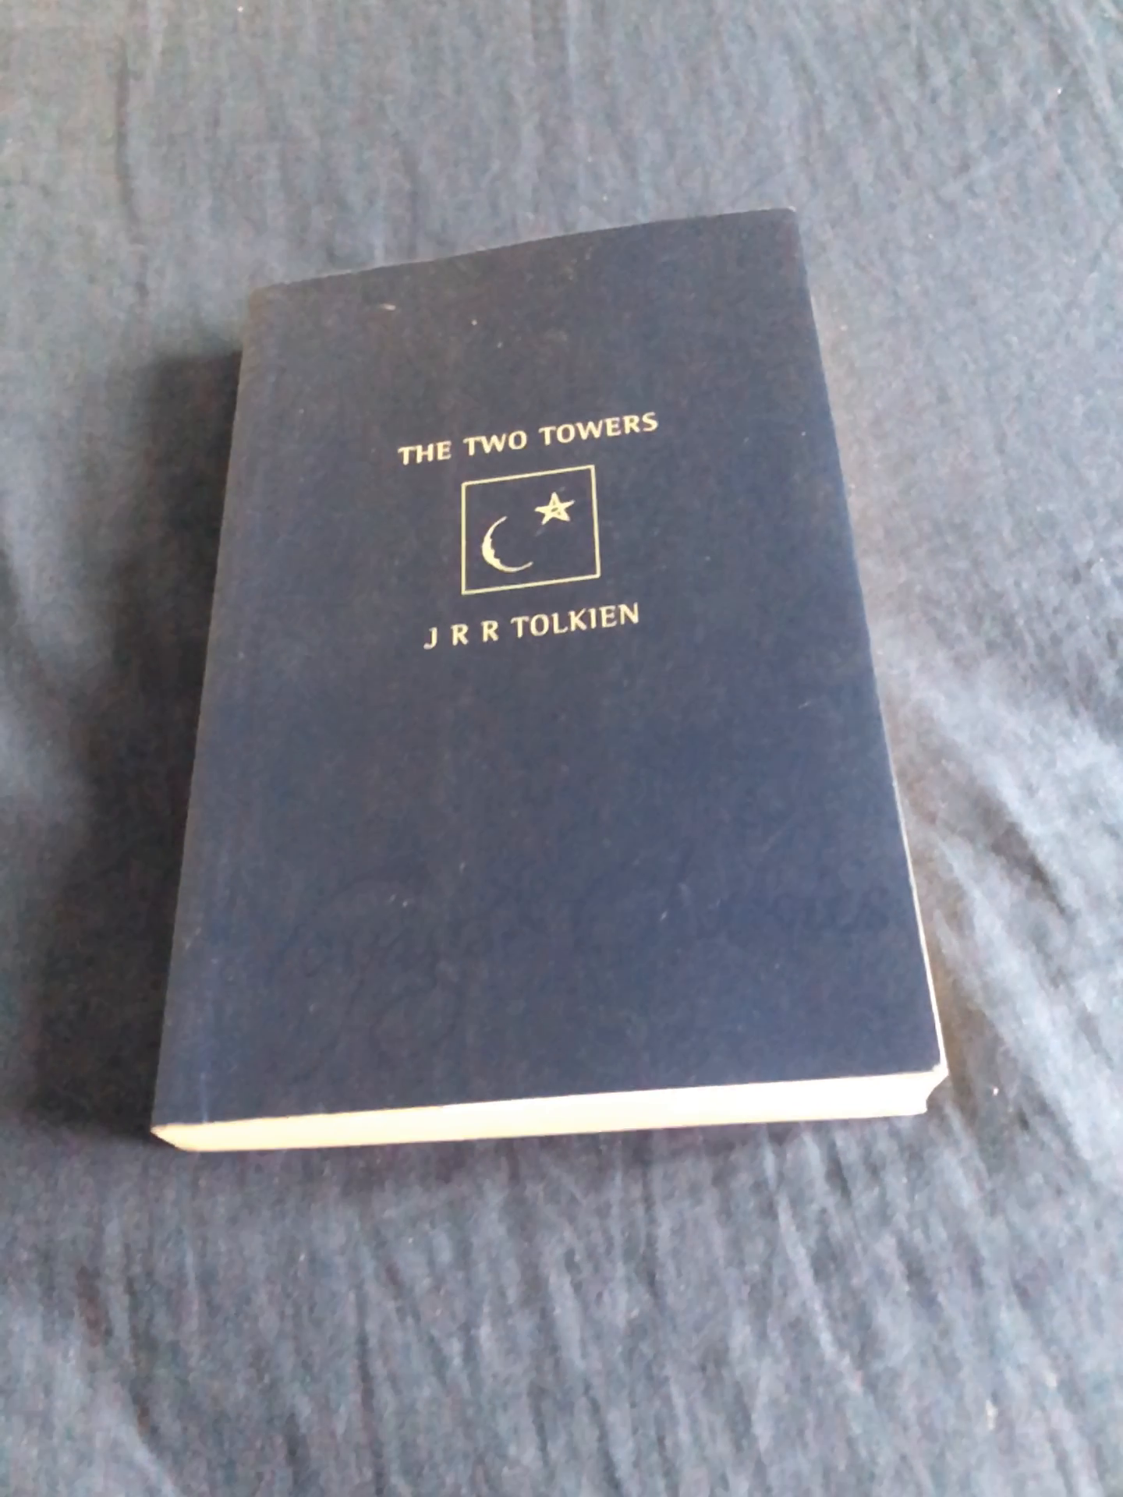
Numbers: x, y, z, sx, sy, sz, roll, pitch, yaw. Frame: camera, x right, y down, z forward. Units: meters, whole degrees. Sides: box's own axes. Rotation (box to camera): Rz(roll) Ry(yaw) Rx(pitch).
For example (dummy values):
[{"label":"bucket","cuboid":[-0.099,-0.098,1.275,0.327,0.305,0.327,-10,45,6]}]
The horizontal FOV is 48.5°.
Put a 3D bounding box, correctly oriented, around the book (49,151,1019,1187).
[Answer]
[{"label":"book","cuboid":[-0.009,-0.022,0.250,0.140,0.060,0.191,-6,62,3]}]
